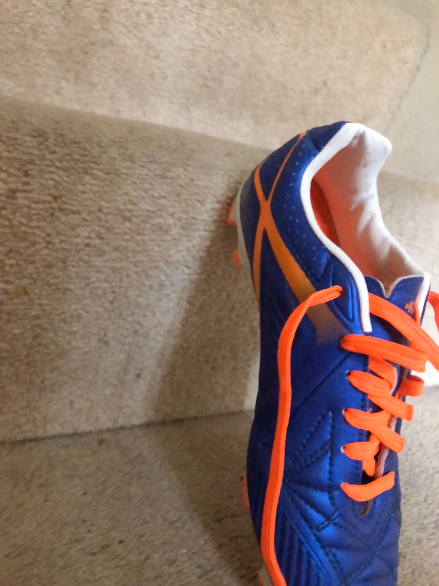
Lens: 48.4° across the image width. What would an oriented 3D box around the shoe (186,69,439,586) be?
[{"bbox_3d":[0.043,0.027,0.222,0.070,0.211,0.099,7,-22,-30],"label":"shoe"}]
